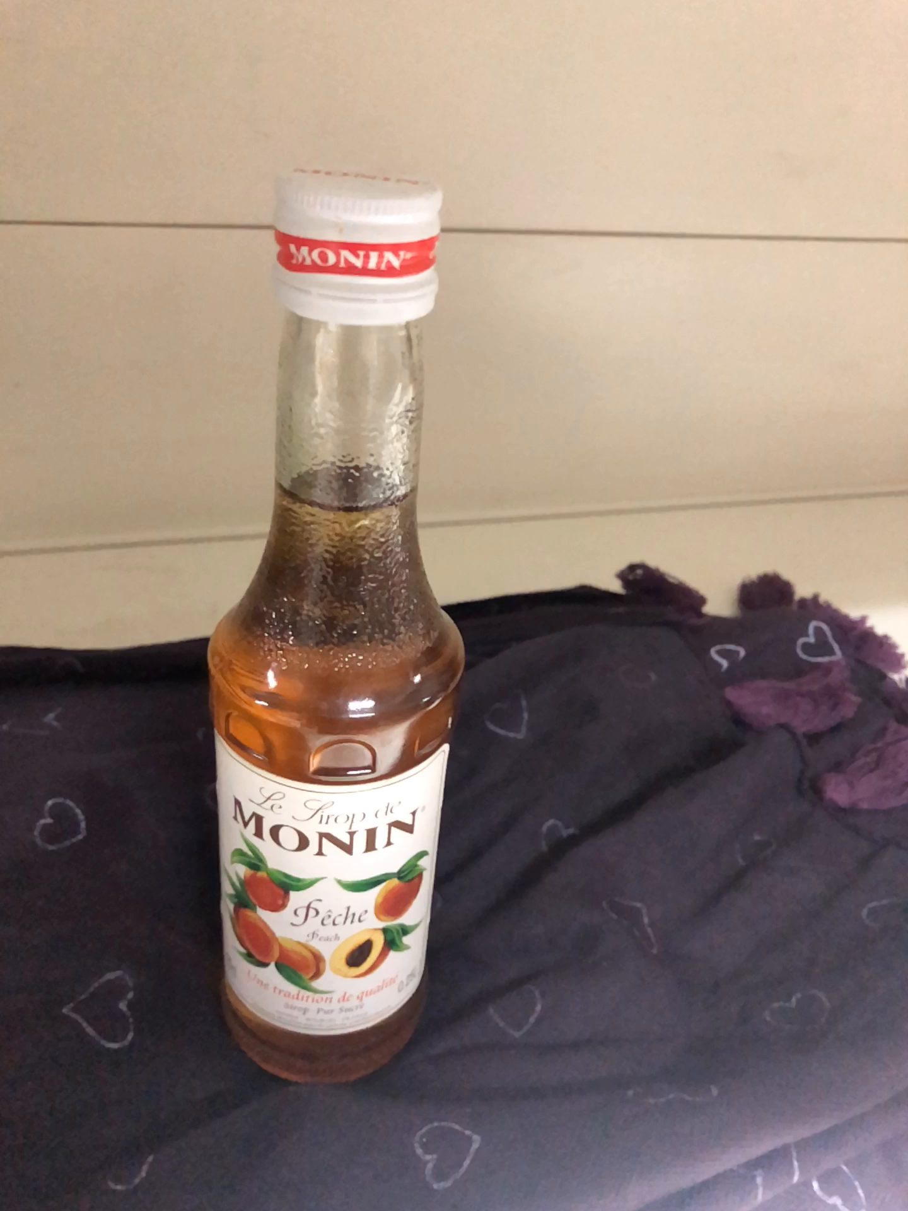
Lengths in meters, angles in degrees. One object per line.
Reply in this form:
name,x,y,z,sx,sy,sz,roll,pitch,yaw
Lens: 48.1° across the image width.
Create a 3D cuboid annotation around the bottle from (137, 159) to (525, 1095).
bottle,-0.025,0.016,0.234,0.060,0.209,0.060,4,29,-2
